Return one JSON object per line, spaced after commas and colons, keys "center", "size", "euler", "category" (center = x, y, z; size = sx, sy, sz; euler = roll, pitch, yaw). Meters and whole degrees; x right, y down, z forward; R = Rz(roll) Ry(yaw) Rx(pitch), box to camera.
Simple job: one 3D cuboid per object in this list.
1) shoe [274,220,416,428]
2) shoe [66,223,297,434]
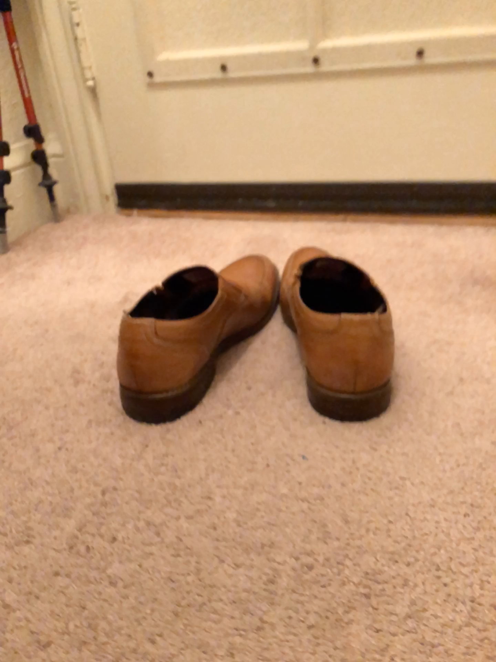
{"center": [0.084, -0.029, 0.578], "size": [0.107, 0.089, 0.312], "euler": [-3, 25, 4], "category": "shoe"}
{"center": [-0.043, -0.028, 0.591], "size": [0.100, 0.090, 0.322], "euler": [6, 27, 21], "category": "shoe"}
